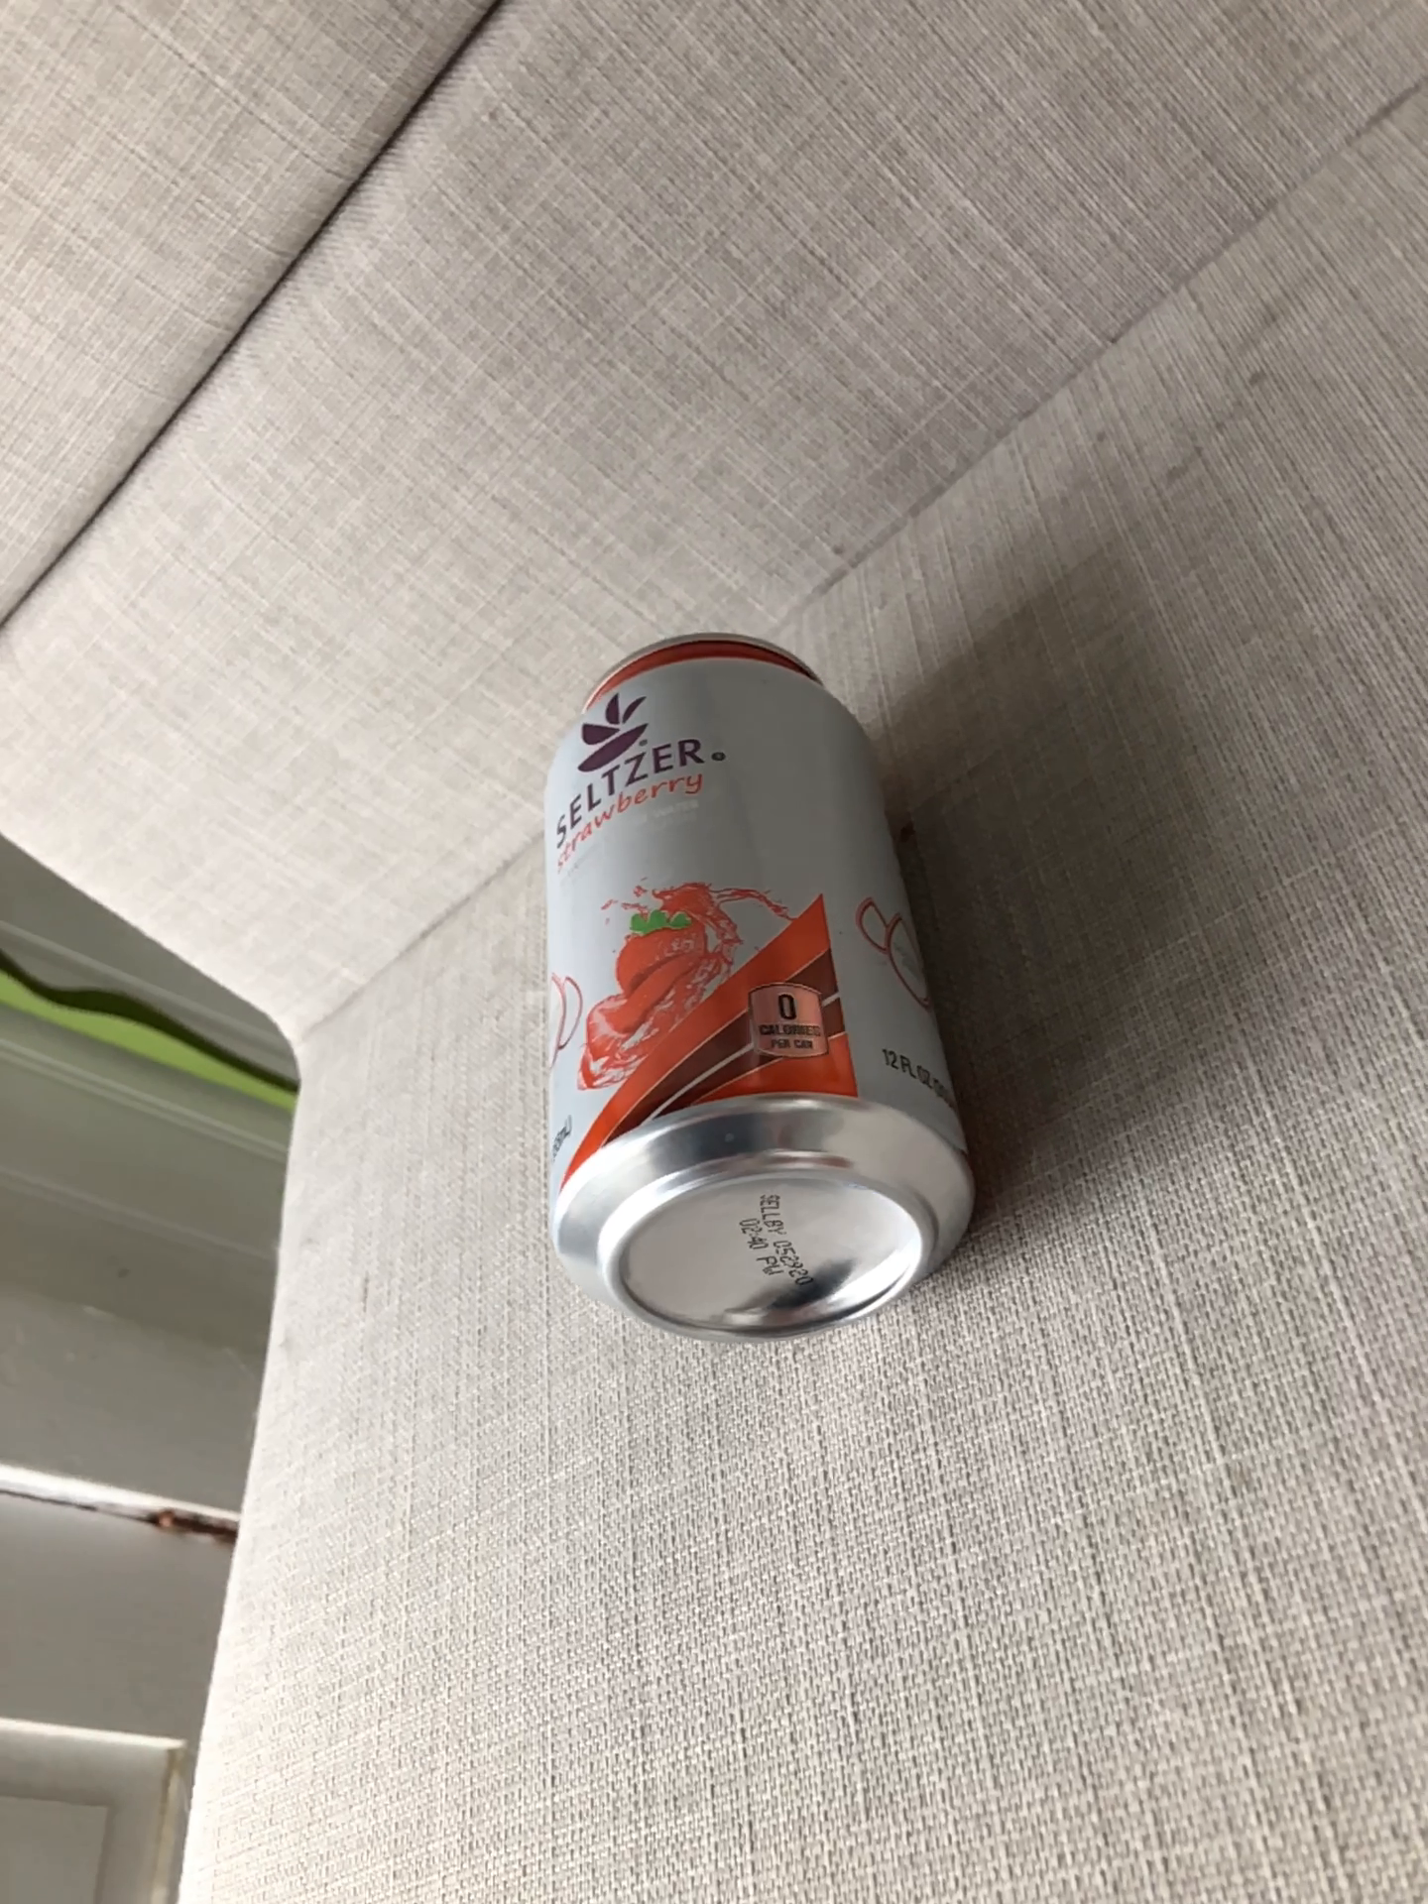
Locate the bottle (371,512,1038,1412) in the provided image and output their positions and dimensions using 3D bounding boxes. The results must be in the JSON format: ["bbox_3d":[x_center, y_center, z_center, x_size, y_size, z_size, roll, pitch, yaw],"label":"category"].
[{"bbox_3d":[-0.007,0.001,0.274,0.070,0.070,0.121,-36,42,29],"label":"bottle"}]
